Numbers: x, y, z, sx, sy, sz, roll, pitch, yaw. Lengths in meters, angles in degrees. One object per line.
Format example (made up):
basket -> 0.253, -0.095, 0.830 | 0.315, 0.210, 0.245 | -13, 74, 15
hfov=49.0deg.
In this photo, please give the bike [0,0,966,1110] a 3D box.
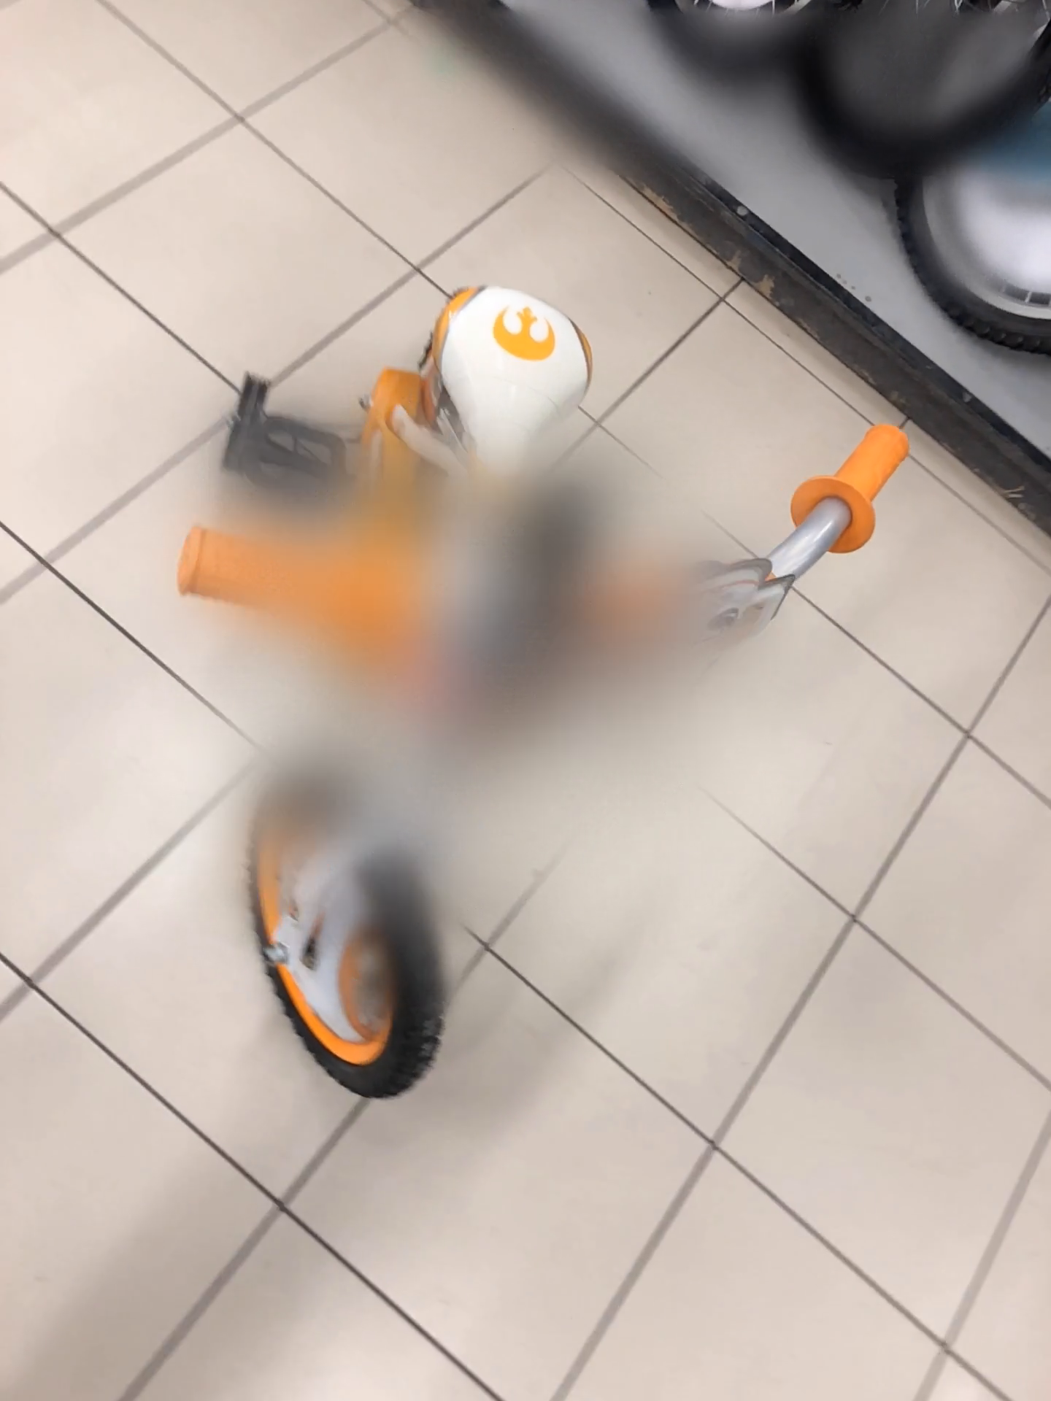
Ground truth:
bike -> -0.081, -0.130, 0.936 | 0.435, 0.715, 0.816 | 7, 68, -14
